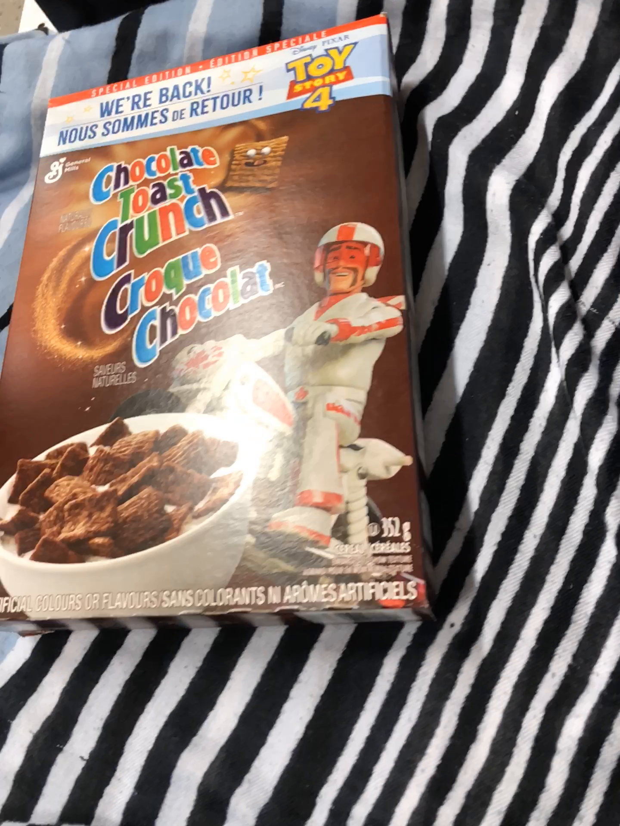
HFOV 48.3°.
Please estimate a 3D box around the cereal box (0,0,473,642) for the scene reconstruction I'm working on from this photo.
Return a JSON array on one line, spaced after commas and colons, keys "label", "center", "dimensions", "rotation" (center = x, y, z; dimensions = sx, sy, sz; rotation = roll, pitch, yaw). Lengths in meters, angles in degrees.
[{"label": "cereal box", "center": [-0.047, -0.052, 0.336], "dimensions": [0.210, 0.060, 0.300], "rotation": [-7, 69, 13]}]
